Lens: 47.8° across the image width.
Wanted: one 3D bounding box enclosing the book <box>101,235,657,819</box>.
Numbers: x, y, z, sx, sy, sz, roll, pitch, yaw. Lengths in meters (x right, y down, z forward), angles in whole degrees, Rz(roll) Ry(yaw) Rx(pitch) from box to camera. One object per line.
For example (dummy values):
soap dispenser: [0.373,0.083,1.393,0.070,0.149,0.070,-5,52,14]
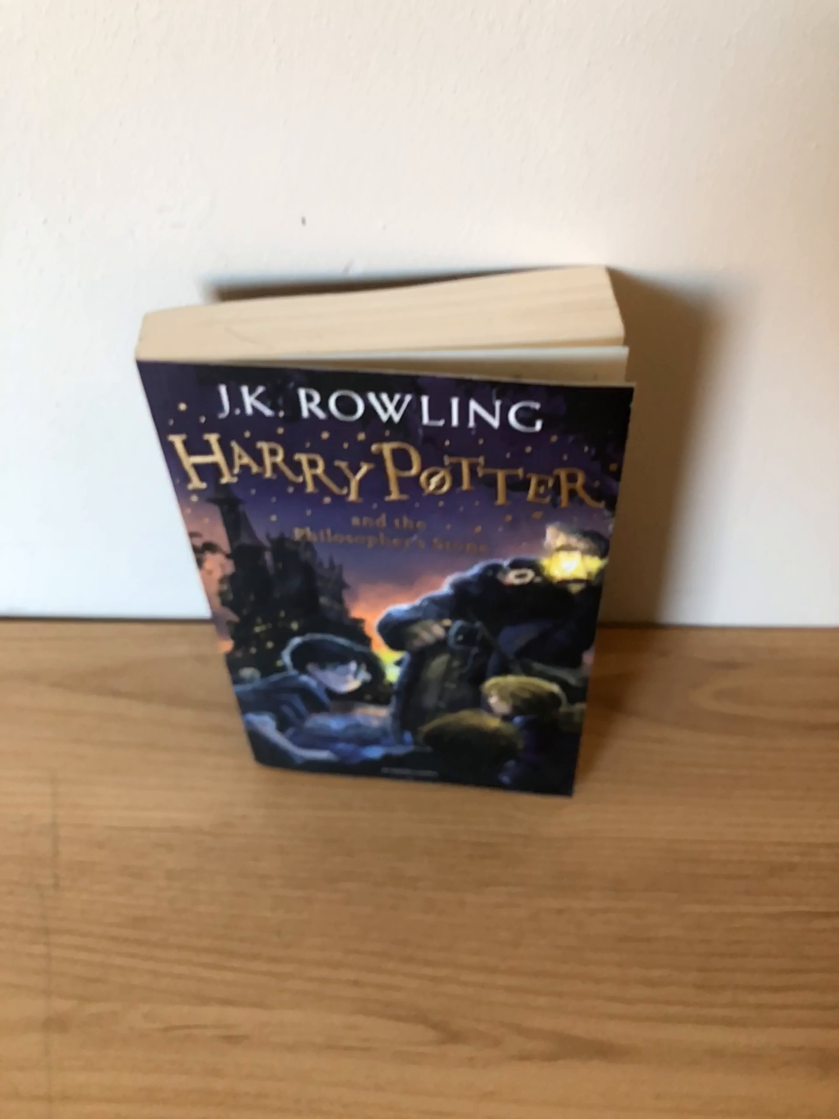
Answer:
book: [-0.006,0.000,0.319,0.135,0.192,0.068,4,45,5]
